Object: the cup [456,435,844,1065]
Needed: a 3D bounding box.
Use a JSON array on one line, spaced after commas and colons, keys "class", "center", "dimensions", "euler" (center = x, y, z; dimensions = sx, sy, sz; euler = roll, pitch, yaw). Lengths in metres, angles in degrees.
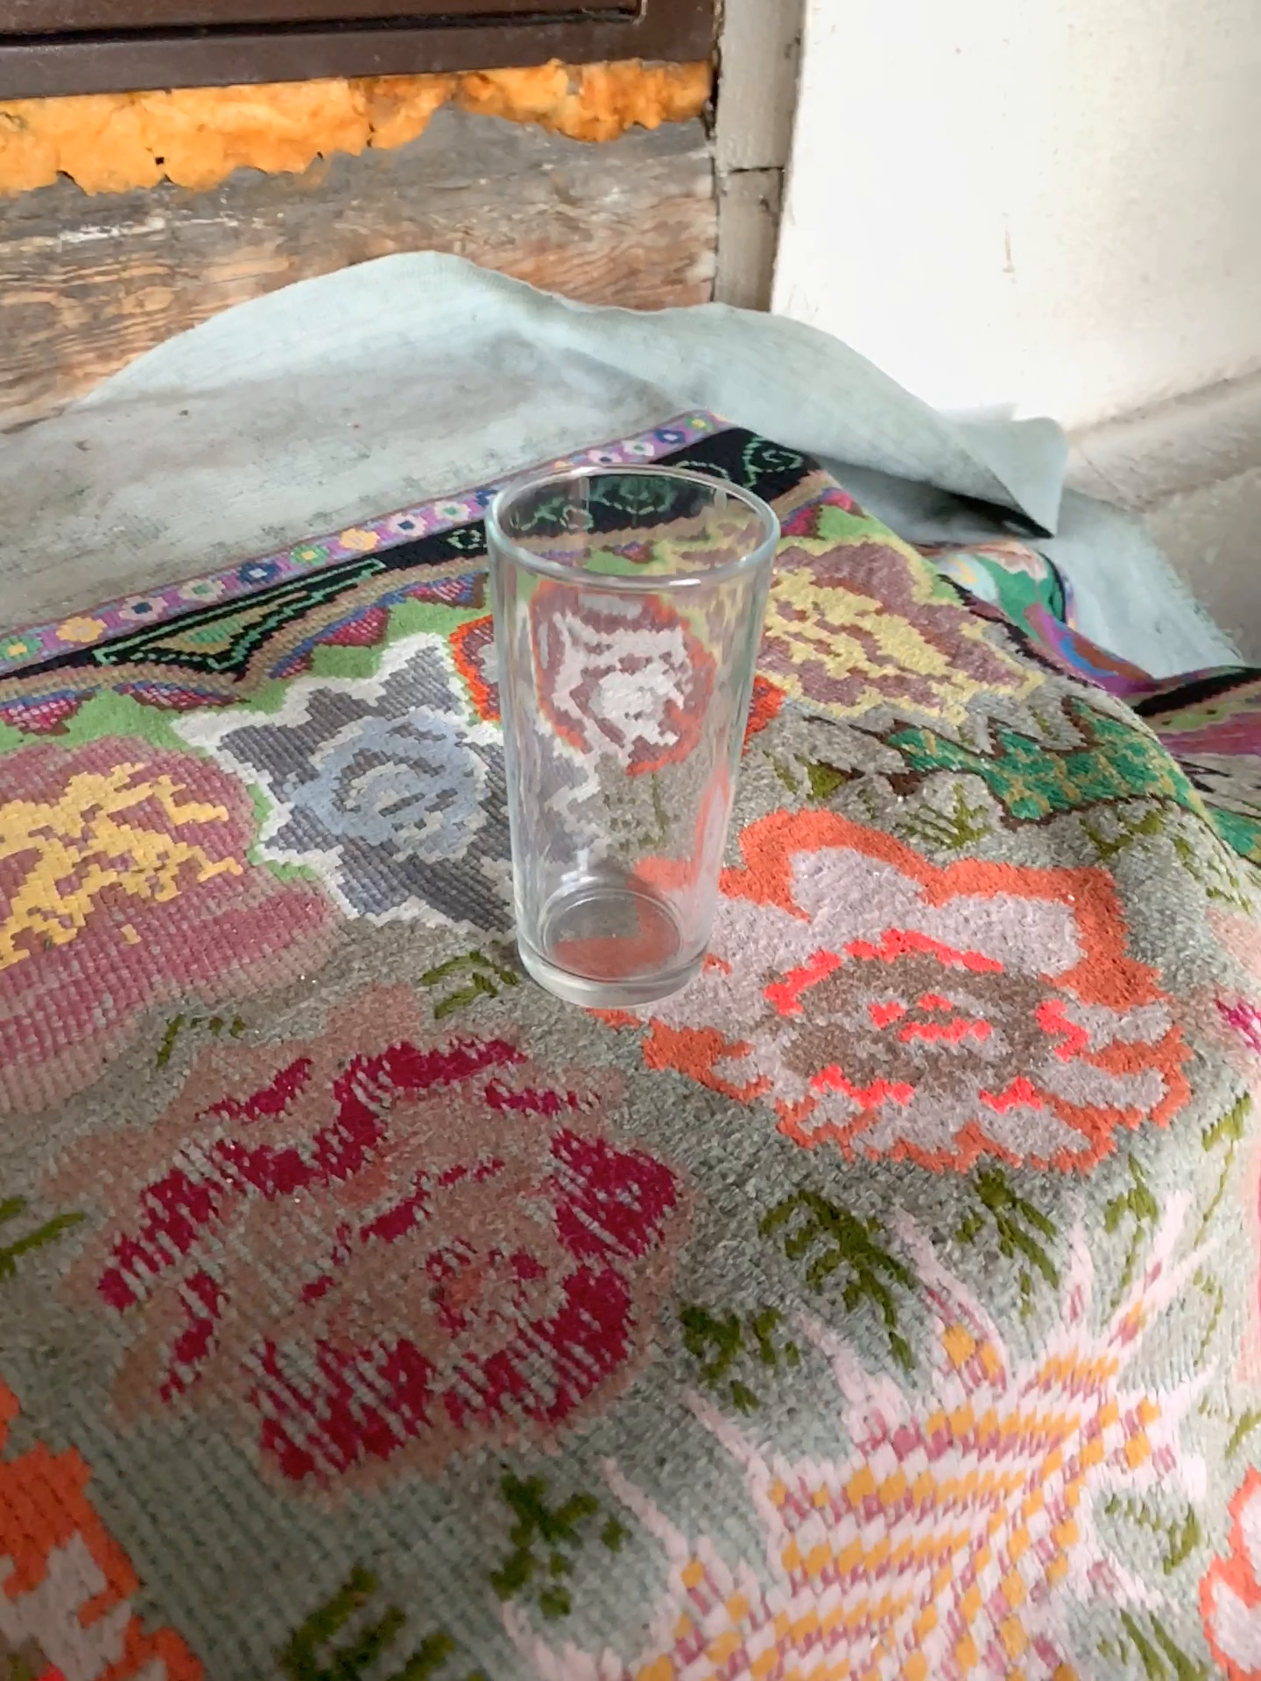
[{"class": "cup", "center": [-0.001, -0.019, 0.289], "dimensions": [0.060, 0.119, 0.060], "euler": [2, 37, -1]}]
